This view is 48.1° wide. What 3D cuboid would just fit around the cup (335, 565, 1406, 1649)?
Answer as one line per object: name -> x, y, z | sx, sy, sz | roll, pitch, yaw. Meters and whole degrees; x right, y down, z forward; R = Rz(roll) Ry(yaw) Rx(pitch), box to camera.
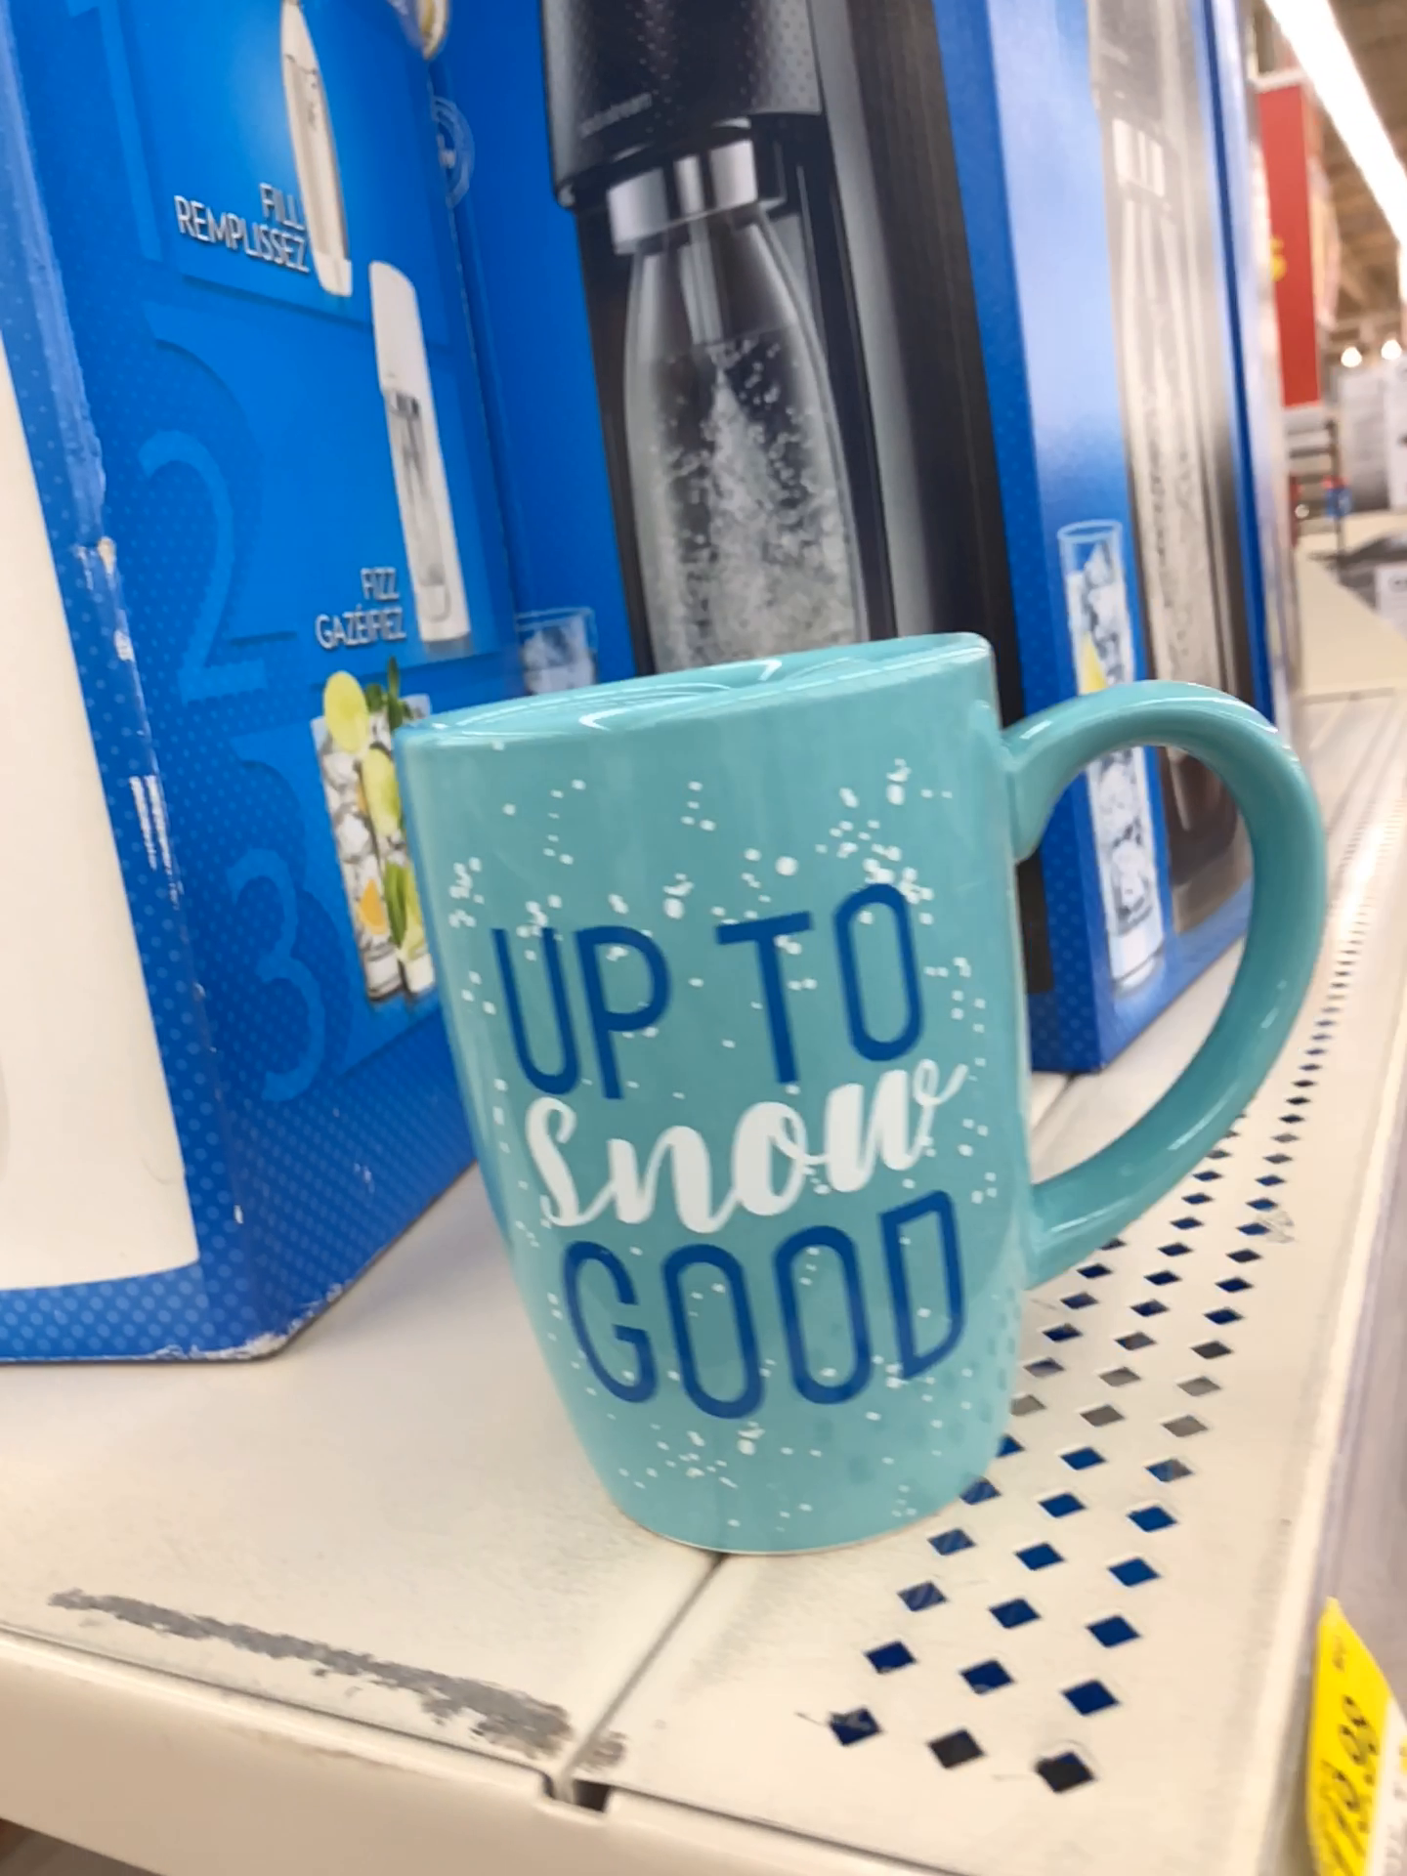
cup -> 0.024, 0.014, 0.249 | 0.140, 0.120, 0.090 | -10, 12, -12
